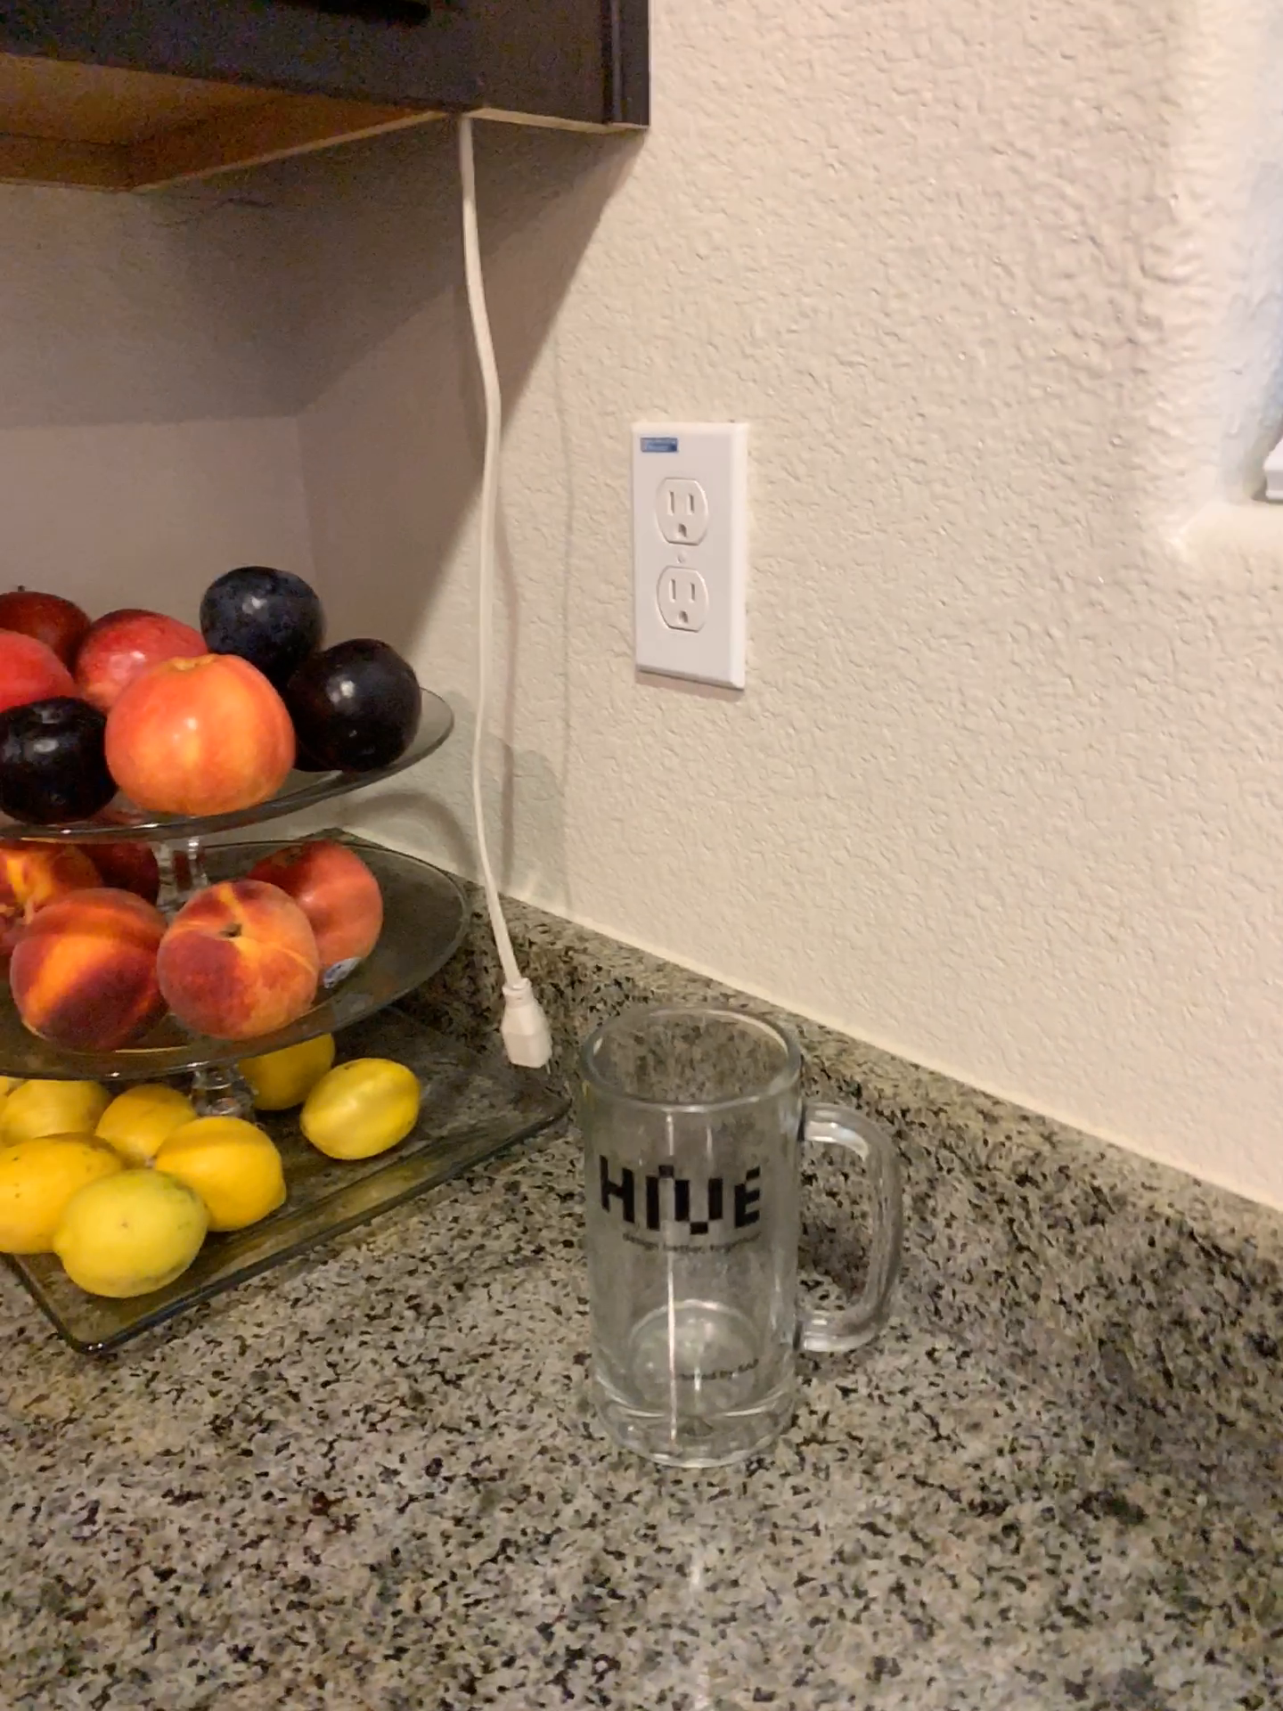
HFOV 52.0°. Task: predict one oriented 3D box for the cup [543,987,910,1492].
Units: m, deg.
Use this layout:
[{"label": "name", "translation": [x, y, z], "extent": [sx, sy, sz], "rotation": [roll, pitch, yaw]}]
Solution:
[{"label": "cup", "translation": [0.032, 0.141, 0.494], "extent": [0.120, 0.159, 0.080], "rotation": [1, 19, 6]}]
